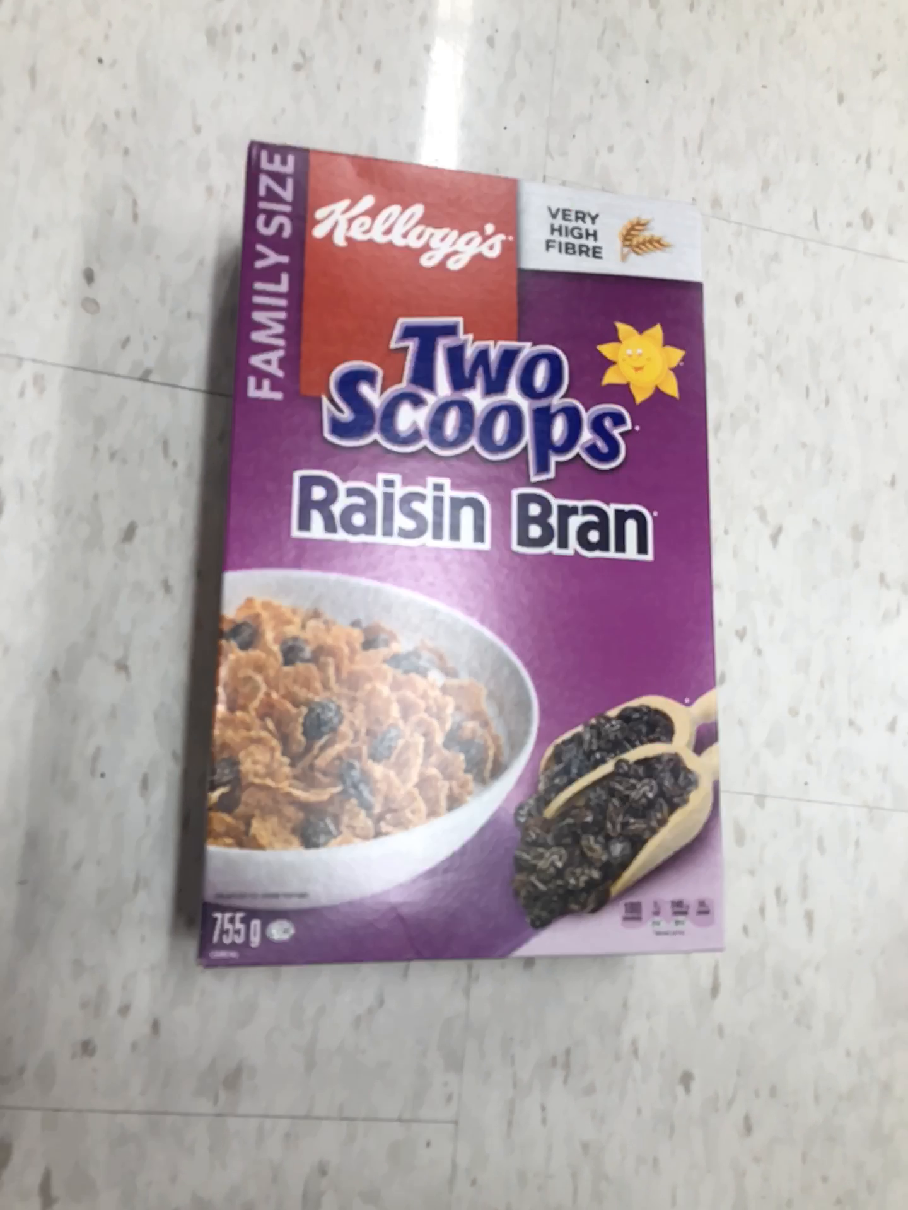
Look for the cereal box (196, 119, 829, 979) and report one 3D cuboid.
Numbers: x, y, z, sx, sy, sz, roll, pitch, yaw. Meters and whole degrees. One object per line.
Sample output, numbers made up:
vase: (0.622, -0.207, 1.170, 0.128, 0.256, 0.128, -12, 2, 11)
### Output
cereal box: (0.019, -0.019, 0.397, 0.220, 0.080, 0.300, 3, 79, -13)
